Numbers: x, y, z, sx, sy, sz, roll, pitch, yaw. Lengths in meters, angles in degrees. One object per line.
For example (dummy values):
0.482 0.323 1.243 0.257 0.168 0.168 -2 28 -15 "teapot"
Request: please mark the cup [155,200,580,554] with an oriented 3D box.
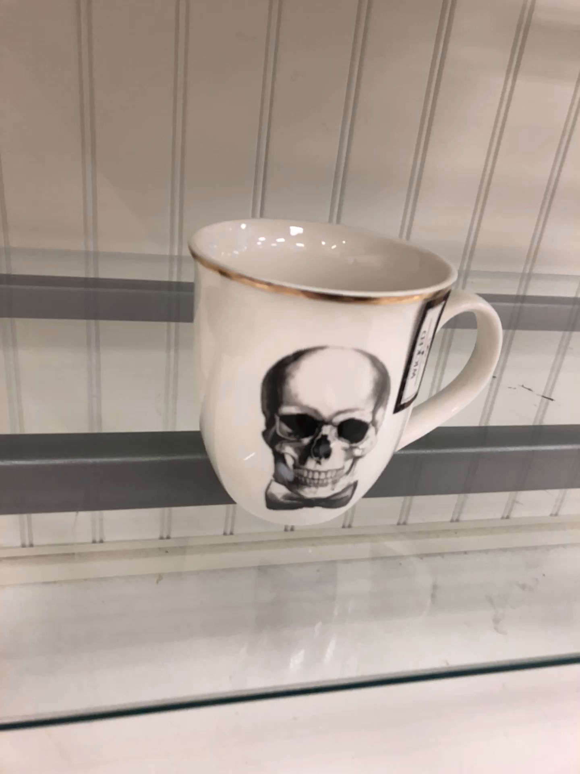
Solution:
0.025 -0.014 0.244 0.131 0.088 0.095 -5 29 -24 "cup"
